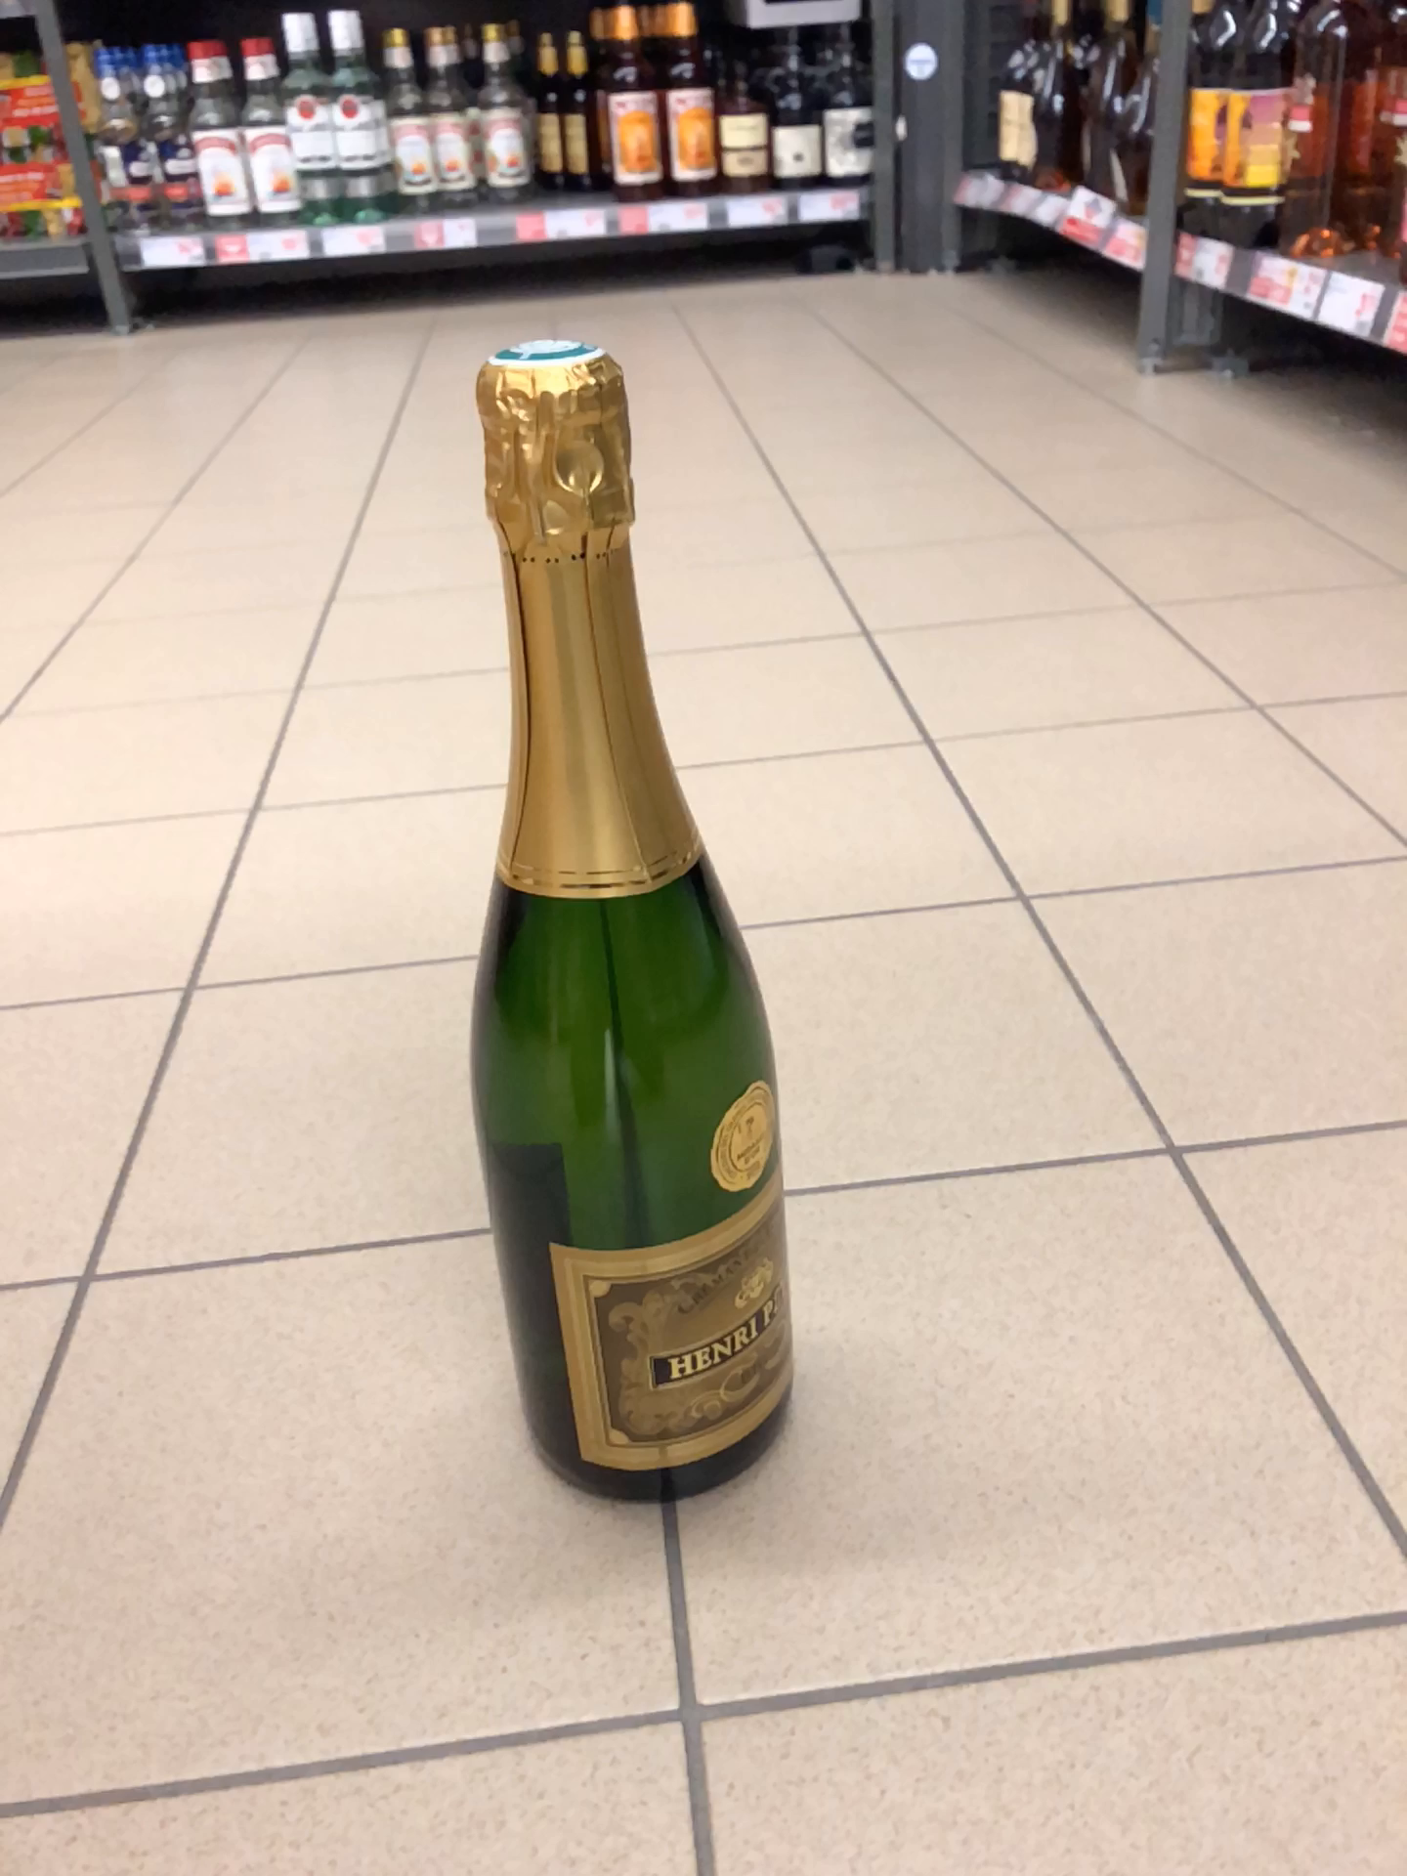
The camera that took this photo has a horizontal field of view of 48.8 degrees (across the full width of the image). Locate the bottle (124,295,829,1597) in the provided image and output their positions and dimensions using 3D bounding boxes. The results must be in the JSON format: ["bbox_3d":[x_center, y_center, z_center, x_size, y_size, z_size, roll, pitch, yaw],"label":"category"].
[{"bbox_3d":[-0.042,0.007,0.403,0.100,0.308,0.101,-3,29,2],"label":"bottle"}]
